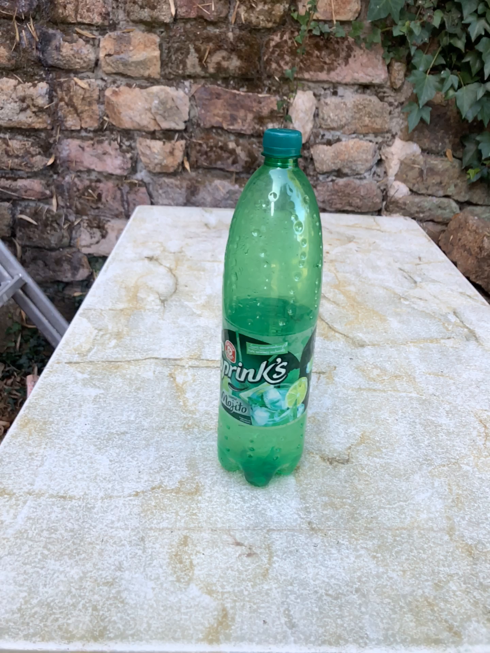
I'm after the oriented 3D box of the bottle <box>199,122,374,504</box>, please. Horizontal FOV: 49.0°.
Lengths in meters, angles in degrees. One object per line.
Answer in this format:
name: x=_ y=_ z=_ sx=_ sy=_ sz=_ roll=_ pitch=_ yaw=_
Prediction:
bottle: x=0.024 y=-0.006 z=0.469 sx=0.090 sy=0.308 sz=0.090 roll=2 pitch=29 yaw=-1
